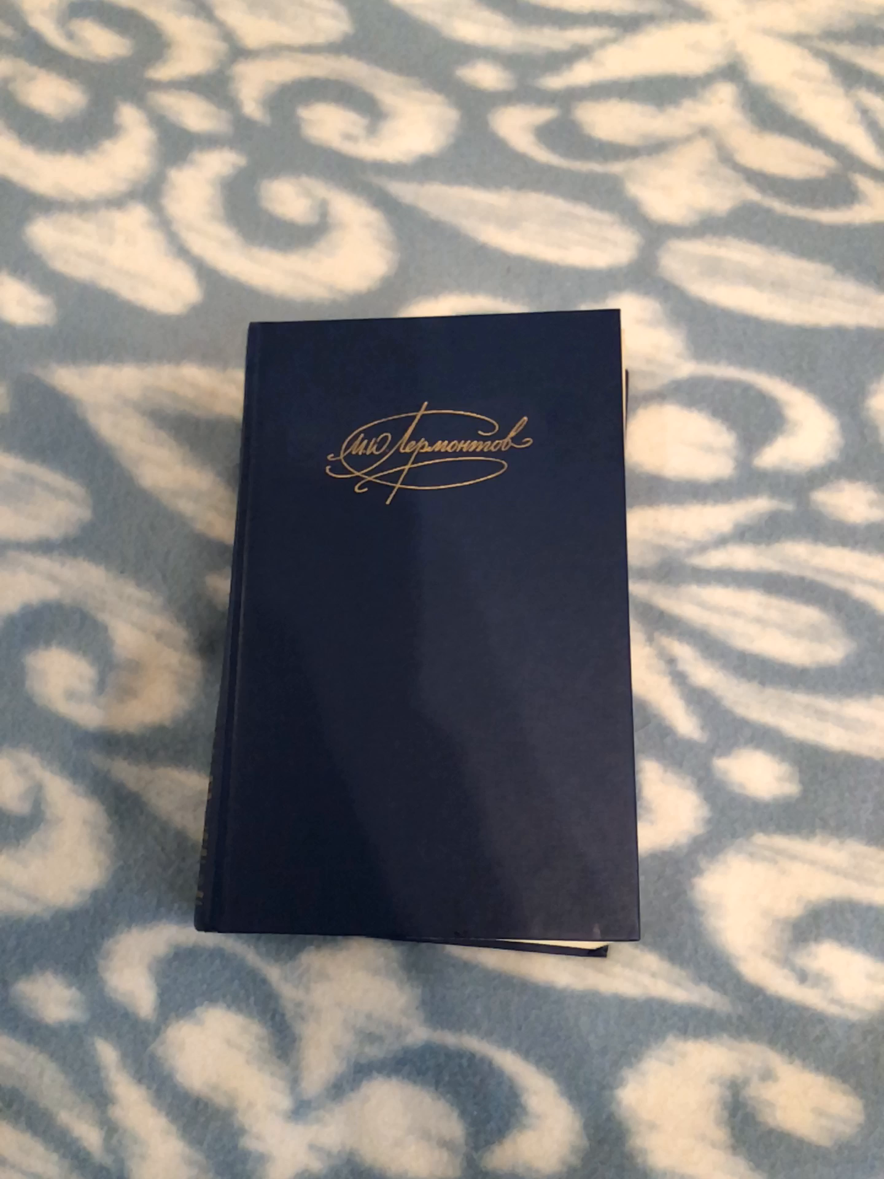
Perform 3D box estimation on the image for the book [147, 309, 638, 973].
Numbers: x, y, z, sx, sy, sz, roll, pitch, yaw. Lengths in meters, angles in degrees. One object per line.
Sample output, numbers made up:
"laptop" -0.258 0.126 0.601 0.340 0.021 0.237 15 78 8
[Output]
"book" -0.010 0.011 0.317 0.138 0.040 0.200 0 76 6
